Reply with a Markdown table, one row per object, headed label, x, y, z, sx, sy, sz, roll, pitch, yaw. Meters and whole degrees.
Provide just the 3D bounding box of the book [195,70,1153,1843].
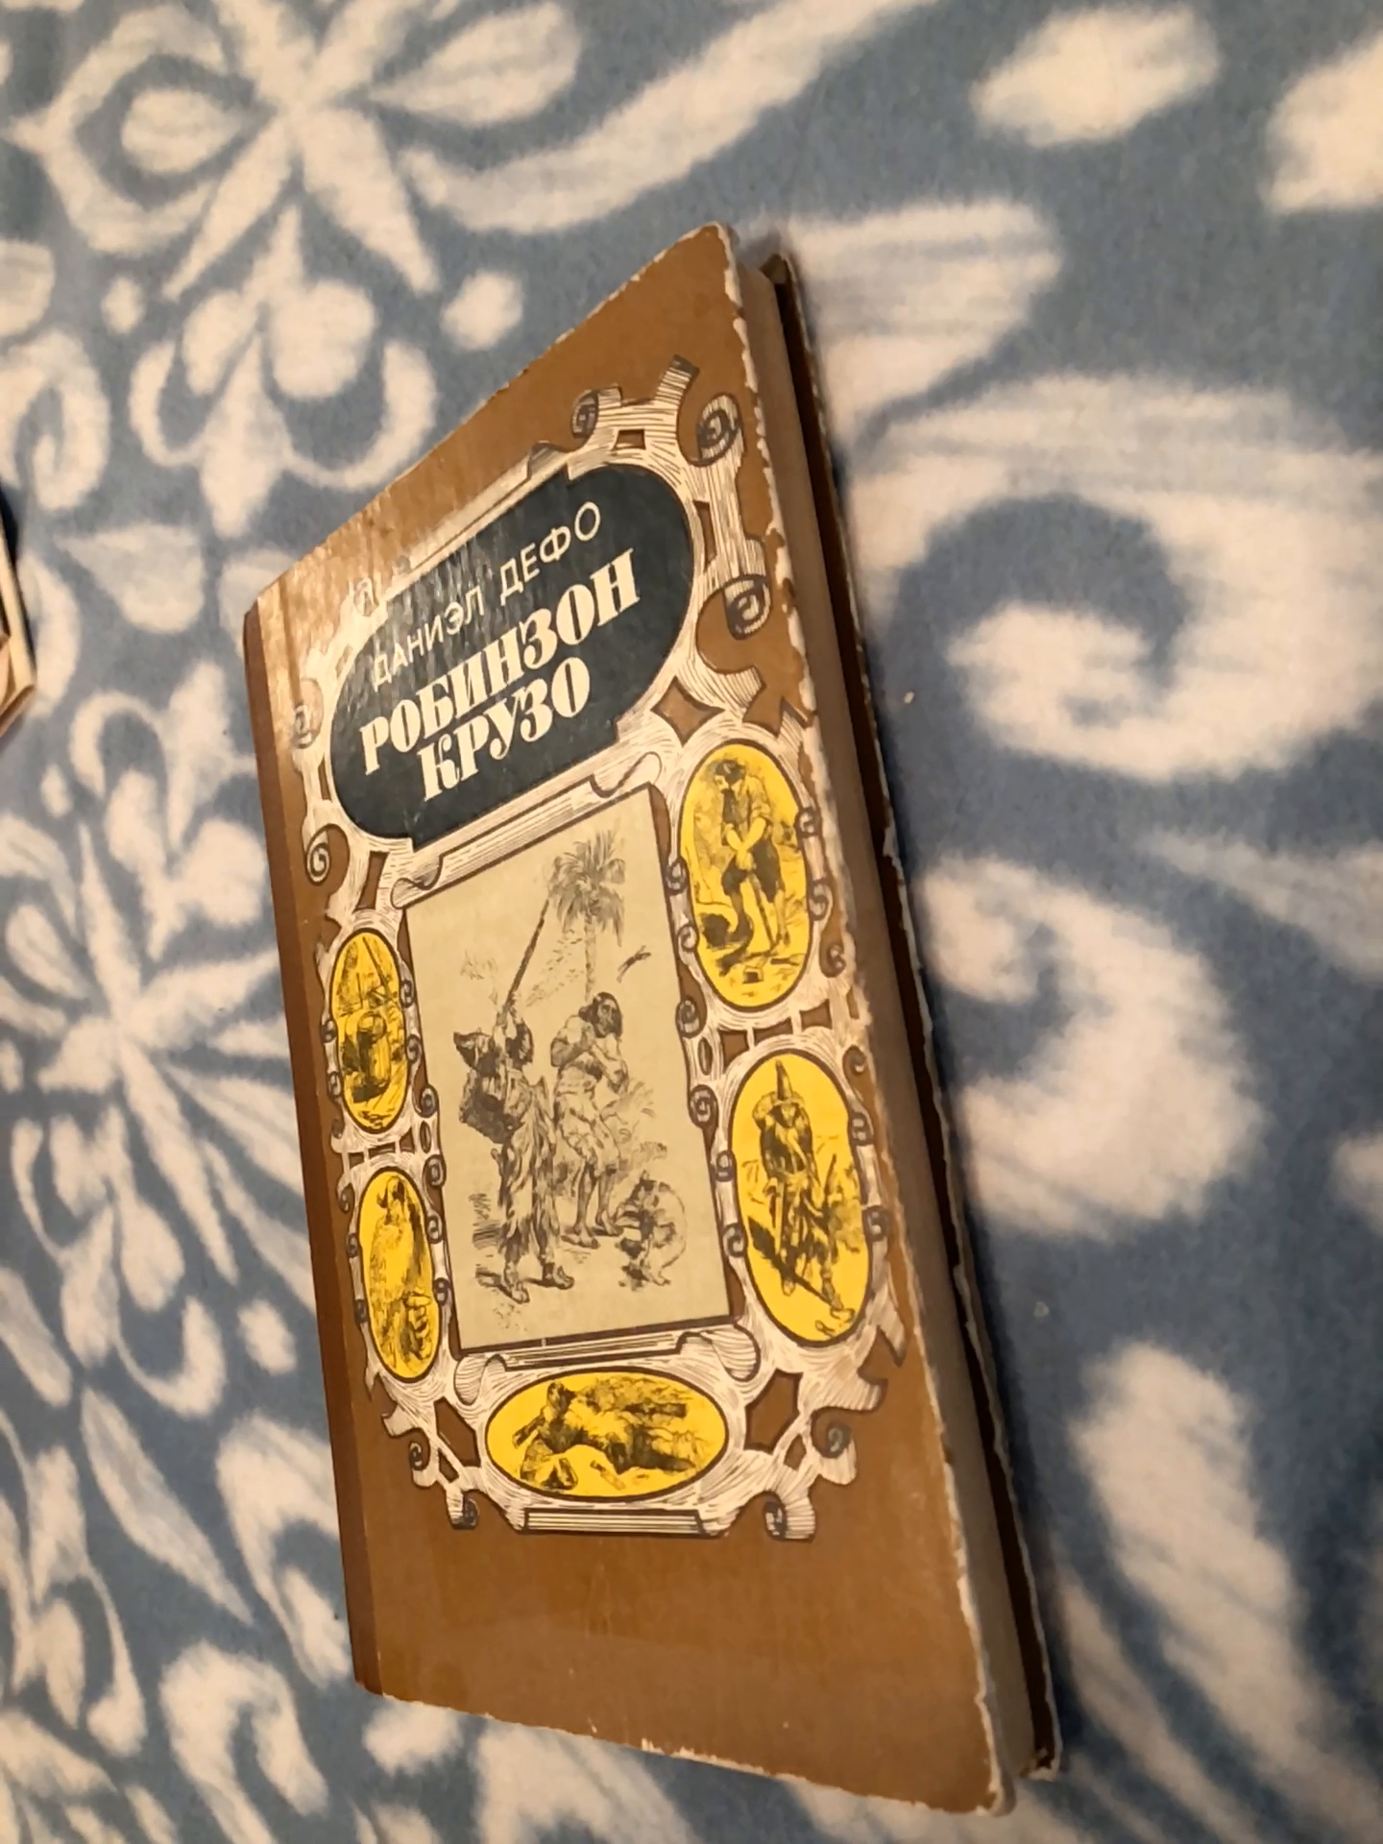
| label | x | y | z | sx | sy | sz | roll | pitch | yaw |
| --- | --- | --- | --- | --- | --- | --- | --- | --- | --- |
| book | -0.028 | 0.015 | 0.271 | 0.179 | 0.024 | 0.242 | -21 | 73 | 45 |
